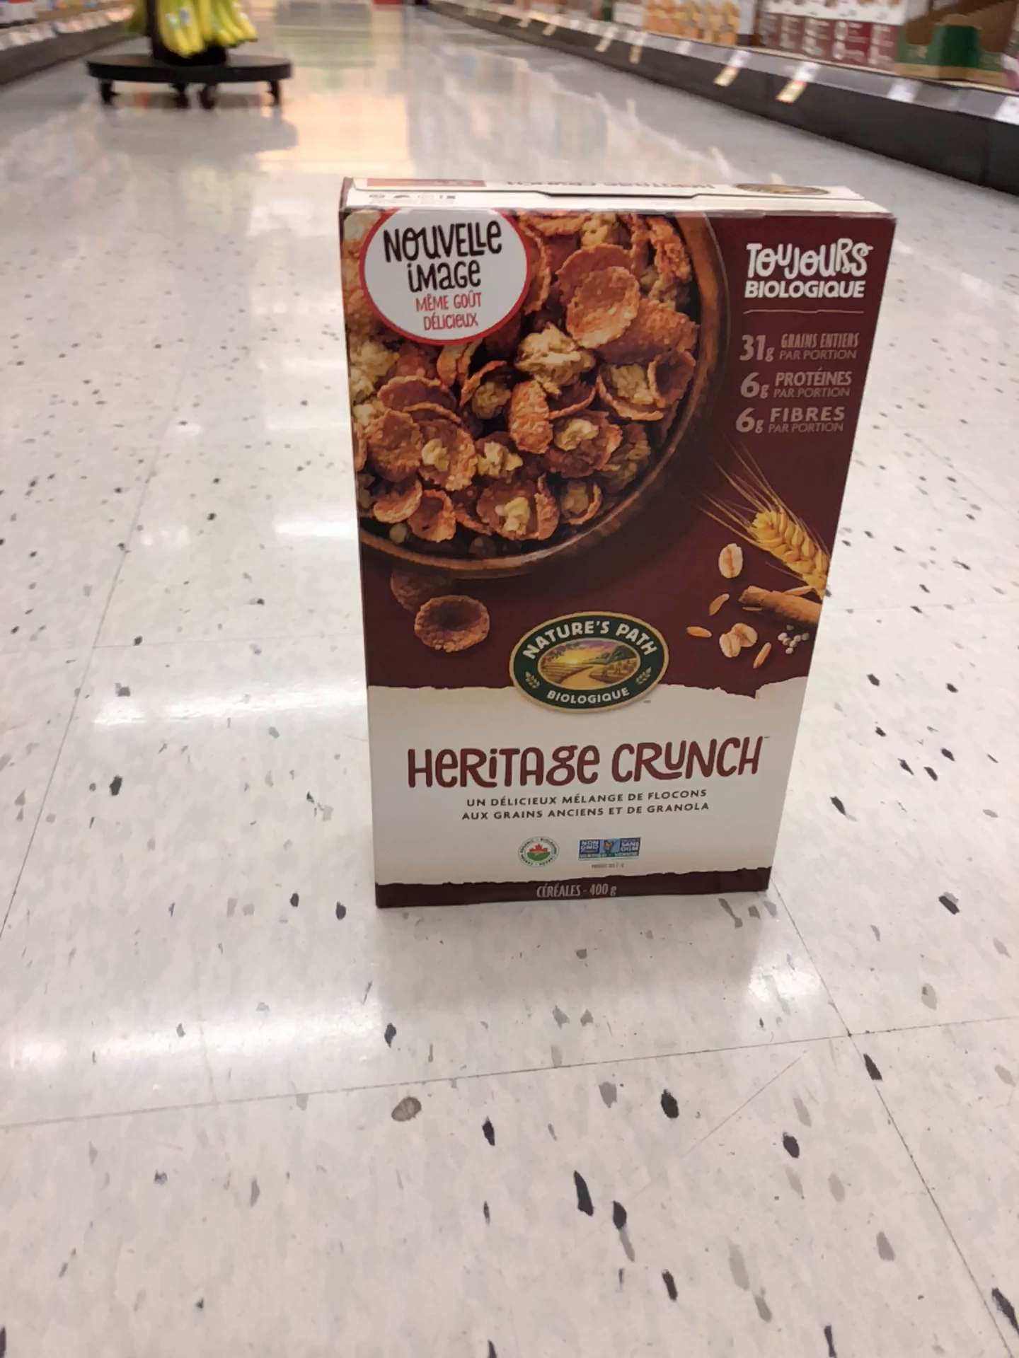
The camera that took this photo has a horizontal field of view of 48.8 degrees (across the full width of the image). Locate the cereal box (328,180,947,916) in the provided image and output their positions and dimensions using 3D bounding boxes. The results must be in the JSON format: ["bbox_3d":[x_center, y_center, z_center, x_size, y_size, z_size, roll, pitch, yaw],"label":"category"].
[{"bbox_3d":[0.031,-0.035,0.394,0.170,0.248,0.060,-2,32,-6],"label":"cereal box"}]
